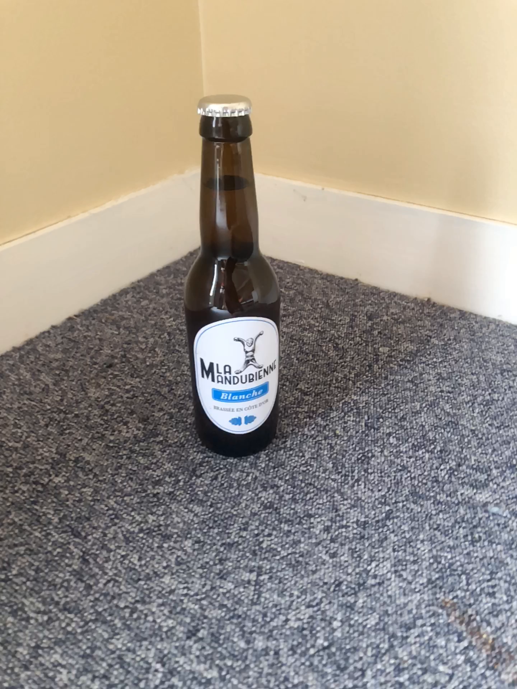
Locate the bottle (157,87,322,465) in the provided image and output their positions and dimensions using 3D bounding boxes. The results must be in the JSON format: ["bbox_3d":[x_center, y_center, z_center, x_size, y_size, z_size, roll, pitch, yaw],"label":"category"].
[{"bbox_3d":[-0.012,-0.033,0.342,0.070,0.209,0.070,0,33,0],"label":"bottle"}]
